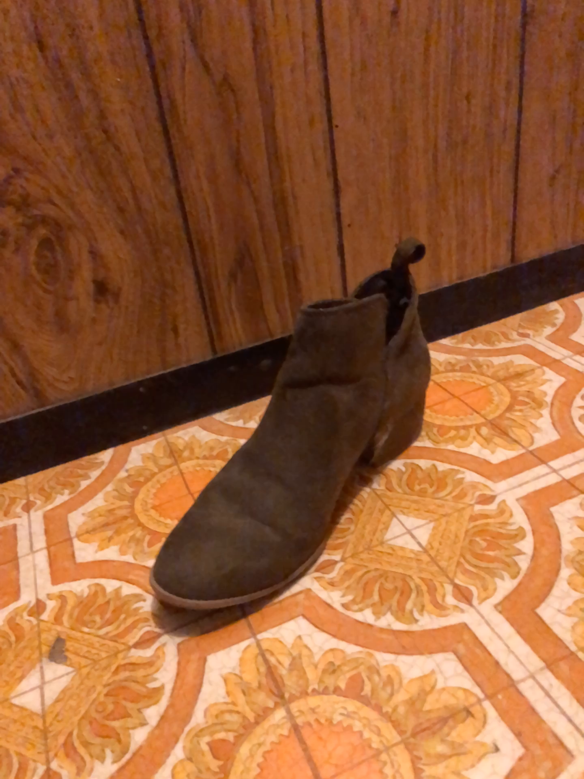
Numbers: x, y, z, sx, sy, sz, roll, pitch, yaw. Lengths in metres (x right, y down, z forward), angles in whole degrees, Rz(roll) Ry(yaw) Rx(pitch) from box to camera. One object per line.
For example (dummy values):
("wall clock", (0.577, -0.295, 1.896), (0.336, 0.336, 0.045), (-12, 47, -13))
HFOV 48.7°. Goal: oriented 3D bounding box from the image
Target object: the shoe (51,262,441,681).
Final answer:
("shoe", (-0.002, 0.028, 0.415), (0.080, 0.130, 0.260), (15, 38, 36))
